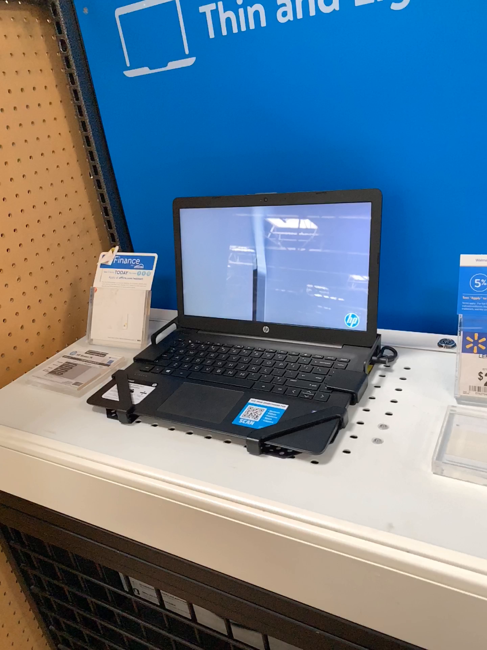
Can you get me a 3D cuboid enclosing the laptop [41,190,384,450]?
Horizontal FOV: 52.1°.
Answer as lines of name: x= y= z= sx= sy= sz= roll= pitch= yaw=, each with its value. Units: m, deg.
laptop: x=-0.017 y=-0.037 z=0.650 sx=0.326 sy=0.203 sz=0.270 roll=5 pitch=28 yaw=28
